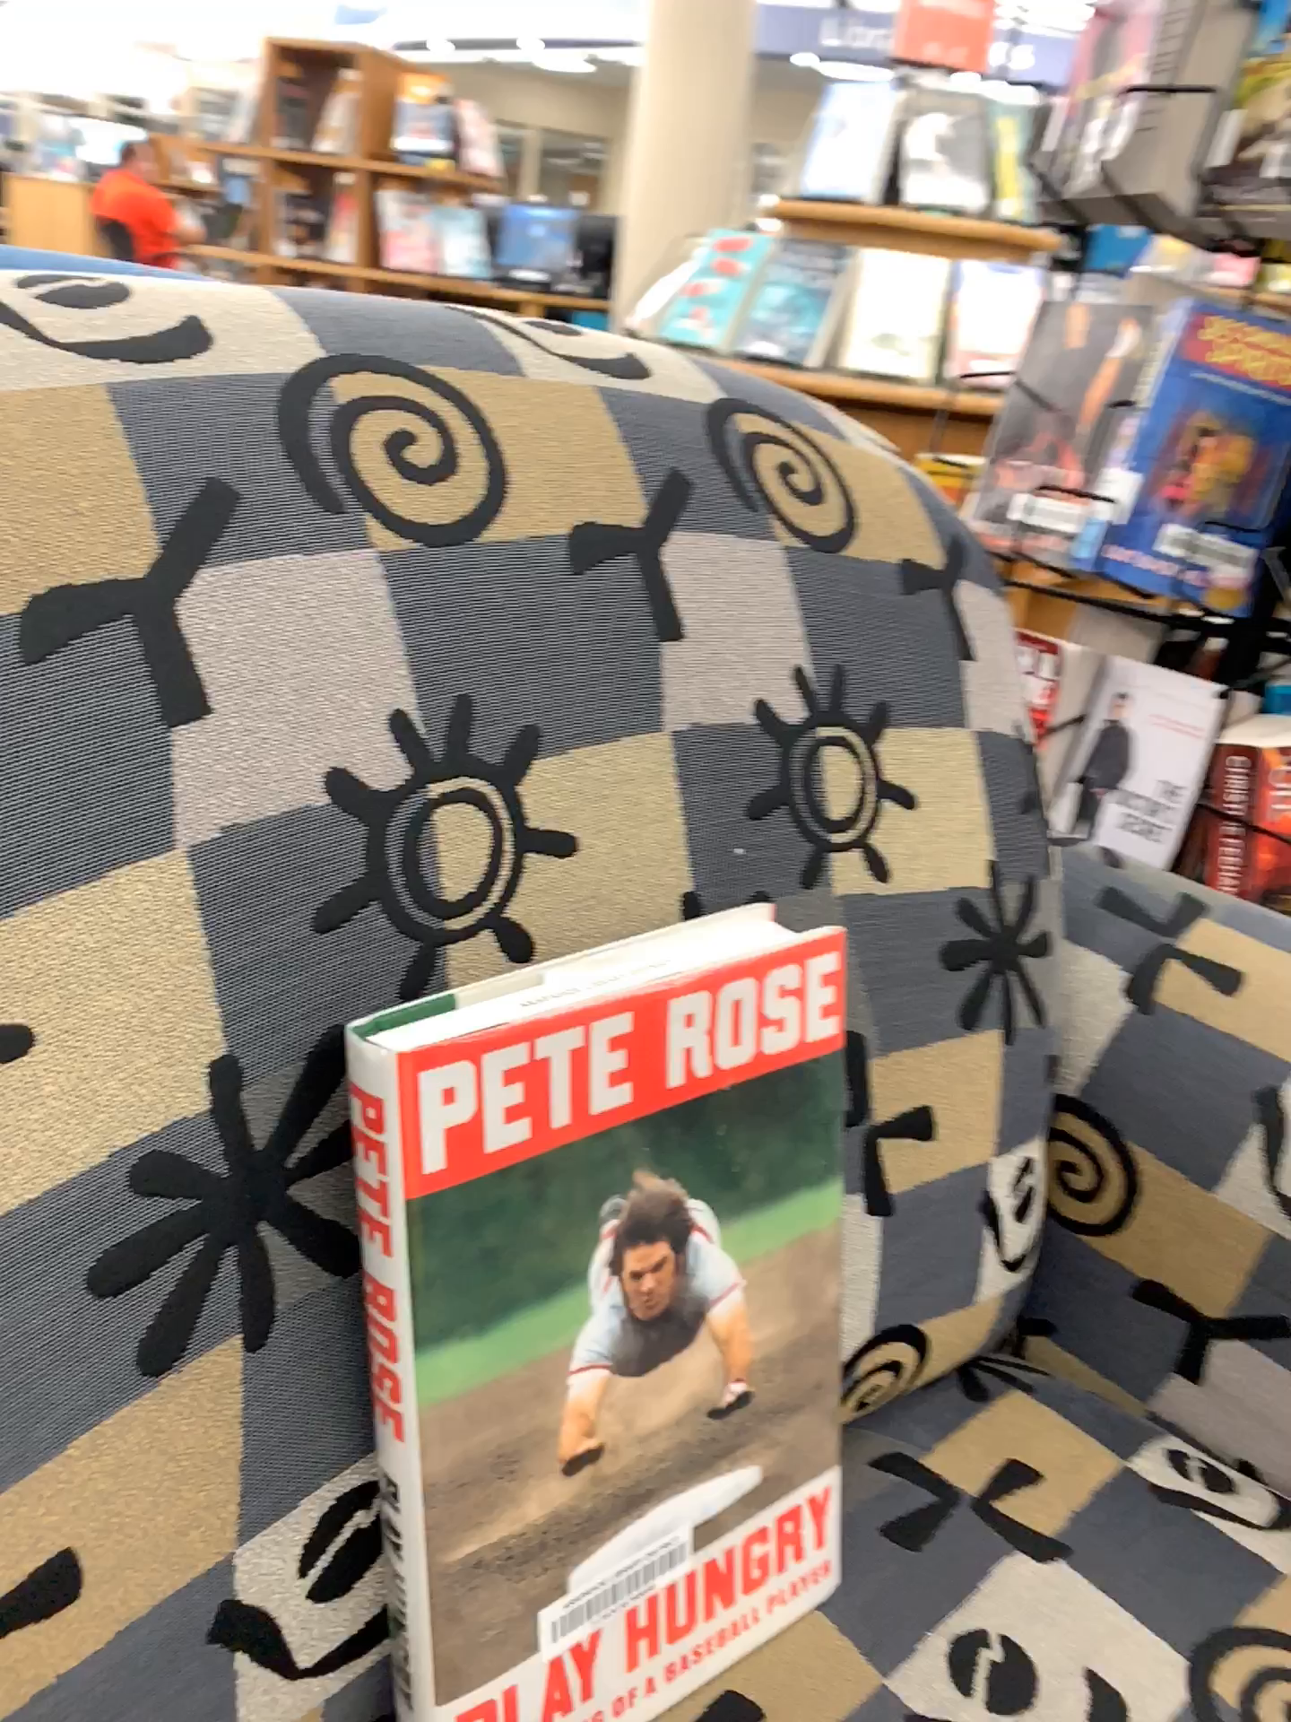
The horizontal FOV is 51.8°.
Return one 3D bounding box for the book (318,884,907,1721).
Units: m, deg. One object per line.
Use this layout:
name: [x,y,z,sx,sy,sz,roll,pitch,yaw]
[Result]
book: [0.002,0.147,0.416,0.190,0.249,0.040,-10,15,-39]
